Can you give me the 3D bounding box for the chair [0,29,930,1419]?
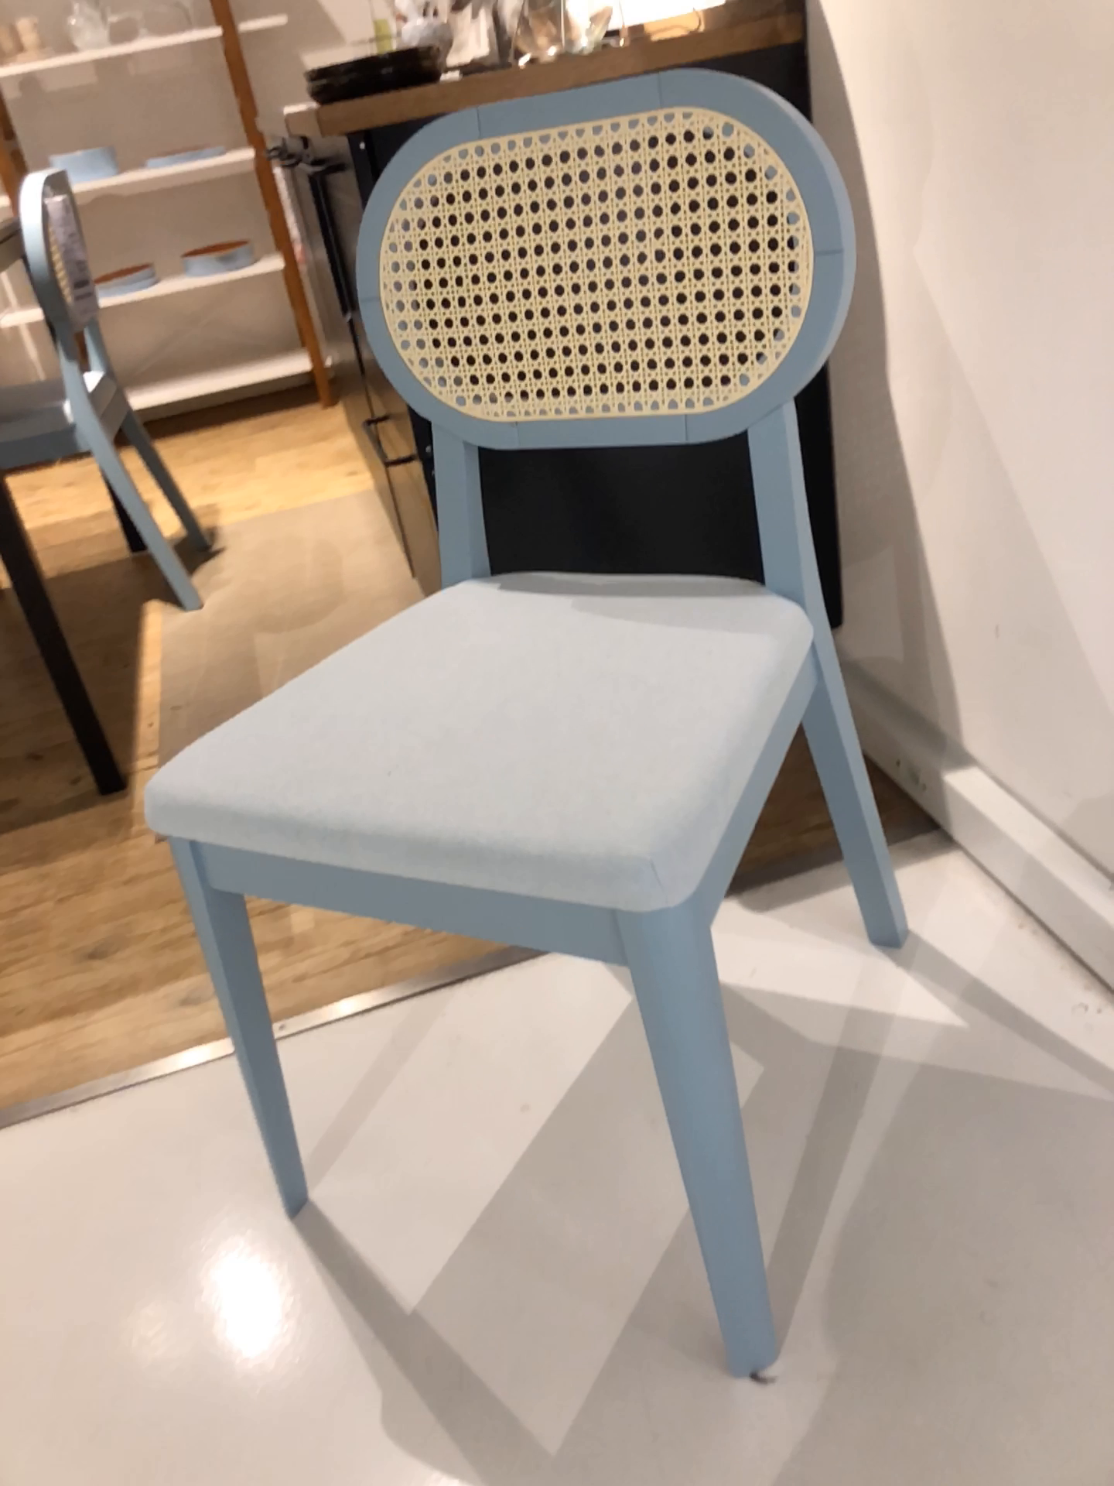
[{"bbox_3d":[-0.021,-0.043,0.990,0.481,0.824,0.563,6,33,29],"label":"chair"}]
